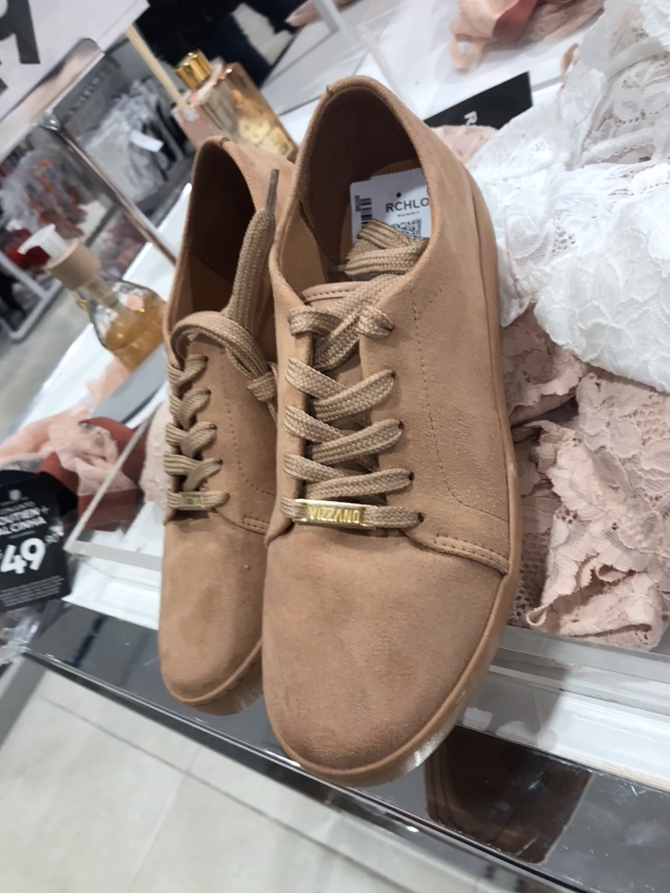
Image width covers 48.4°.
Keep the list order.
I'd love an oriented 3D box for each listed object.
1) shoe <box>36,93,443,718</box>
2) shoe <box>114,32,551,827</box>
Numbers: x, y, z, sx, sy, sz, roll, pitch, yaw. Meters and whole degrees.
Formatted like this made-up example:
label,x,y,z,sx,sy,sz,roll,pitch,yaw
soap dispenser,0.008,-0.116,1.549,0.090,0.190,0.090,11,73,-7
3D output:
label,x,y,z,sx,sy,sz,roll,pitch,yaw
shoe,-0.034,-0.014,0.340,0.090,0.099,0.240,-1,71,42
shoe,0.018,-0.008,0.268,0.090,0.099,0.241,-1,68,25
